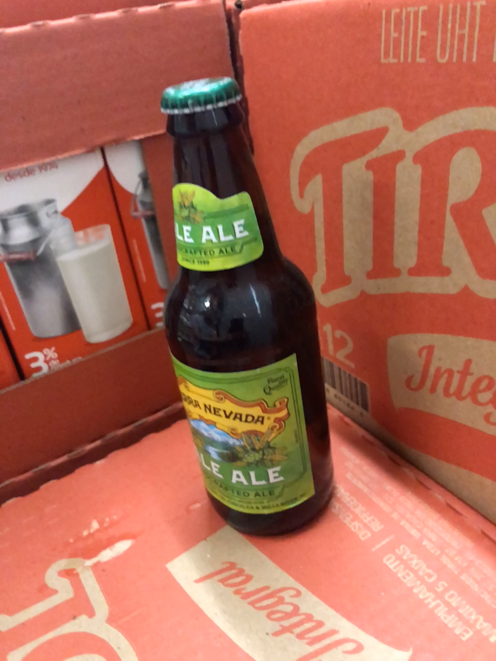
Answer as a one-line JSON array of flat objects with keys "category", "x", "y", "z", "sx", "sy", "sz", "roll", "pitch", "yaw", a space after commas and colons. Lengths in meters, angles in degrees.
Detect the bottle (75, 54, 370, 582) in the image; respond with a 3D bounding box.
[{"category": "bottle", "x": 0.001, "y": 0.000, "z": 0.222, "sx": 0.070, "sy": 0.189, "sz": 0.060, "roll": 21, "pitch": 41, "yaw": 40}]
